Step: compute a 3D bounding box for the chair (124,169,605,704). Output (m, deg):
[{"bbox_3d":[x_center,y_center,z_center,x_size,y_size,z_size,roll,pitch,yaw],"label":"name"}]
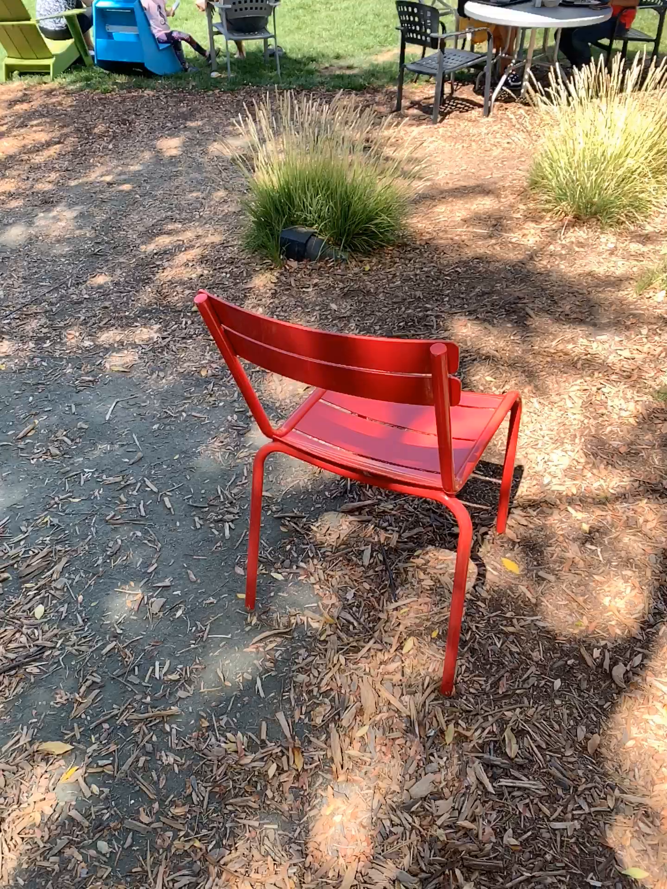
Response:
[{"bbox_3d":[0.104,-0.029,1.406,0.612,0.786,0.572,17,48,24],"label":"chair"}]
